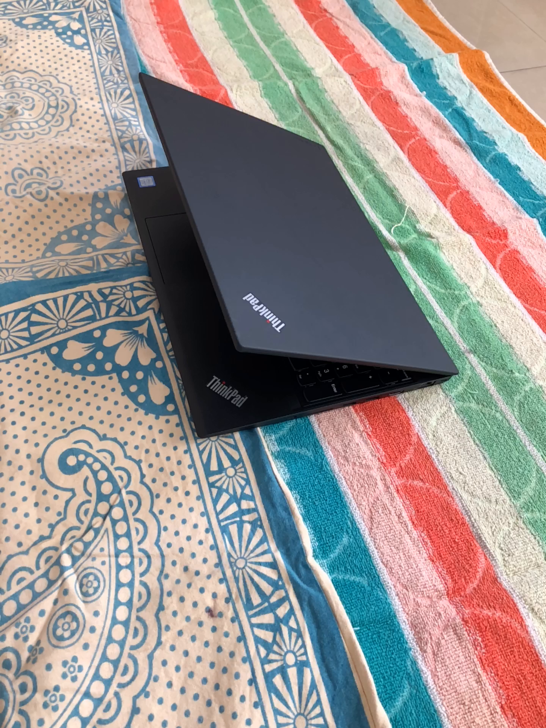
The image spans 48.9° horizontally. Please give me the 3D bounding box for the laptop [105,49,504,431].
[{"bbox_3d":[0.006,-0.141,0.574,0.243,0.121,0.346,-12,58,-16],"label":"laptop"}]
